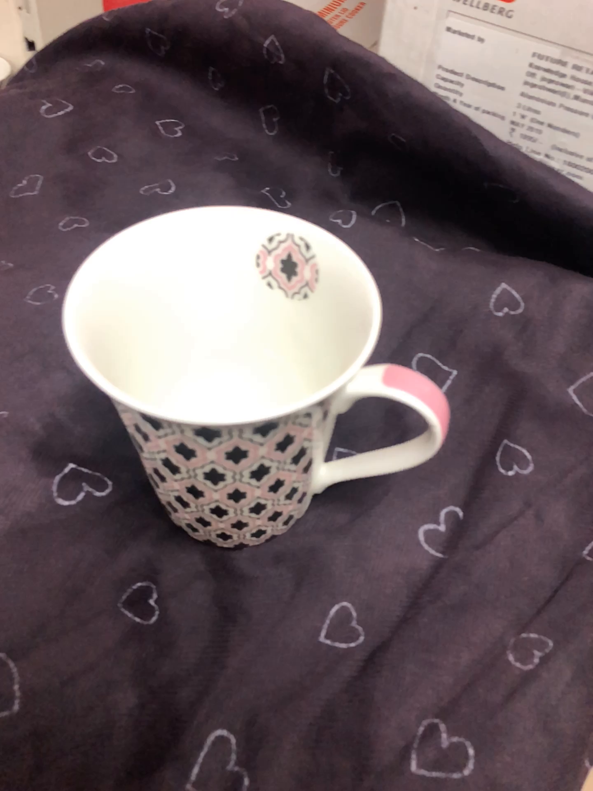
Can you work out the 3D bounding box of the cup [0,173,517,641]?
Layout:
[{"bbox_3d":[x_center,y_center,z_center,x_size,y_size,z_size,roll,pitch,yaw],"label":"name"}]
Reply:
[{"bbox_3d":[-0.007,0.001,0.212,0.120,0.080,0.091,17,50,8],"label":"cup"}]
